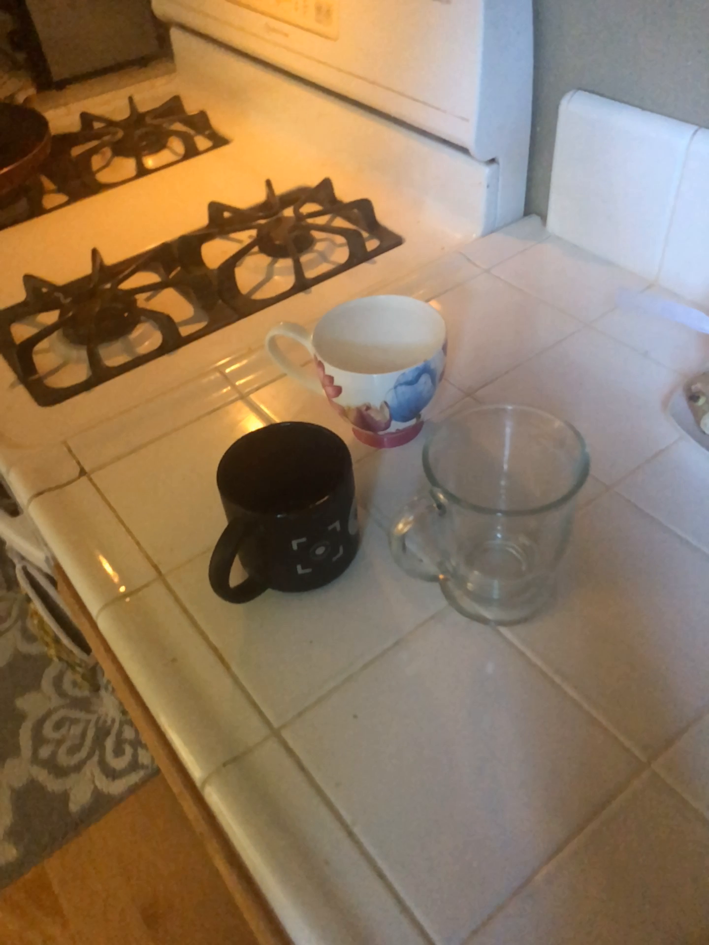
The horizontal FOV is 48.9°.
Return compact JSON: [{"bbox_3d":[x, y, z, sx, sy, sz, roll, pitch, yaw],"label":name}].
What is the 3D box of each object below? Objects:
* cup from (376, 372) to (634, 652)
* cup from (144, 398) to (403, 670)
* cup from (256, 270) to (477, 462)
[{"bbox_3d":[0.087,0.025,0.493,0.120,0.119,0.101,-12,46,-6],"label":"cup"},{"bbox_3d":[-0.049,0.037,0.529,0.100,0.089,0.131,31,56,31],"label":"cup"},{"bbox_3d":[0.014,-0.090,0.634,0.140,0.079,0.111,15,49,20],"label":"cup"}]
